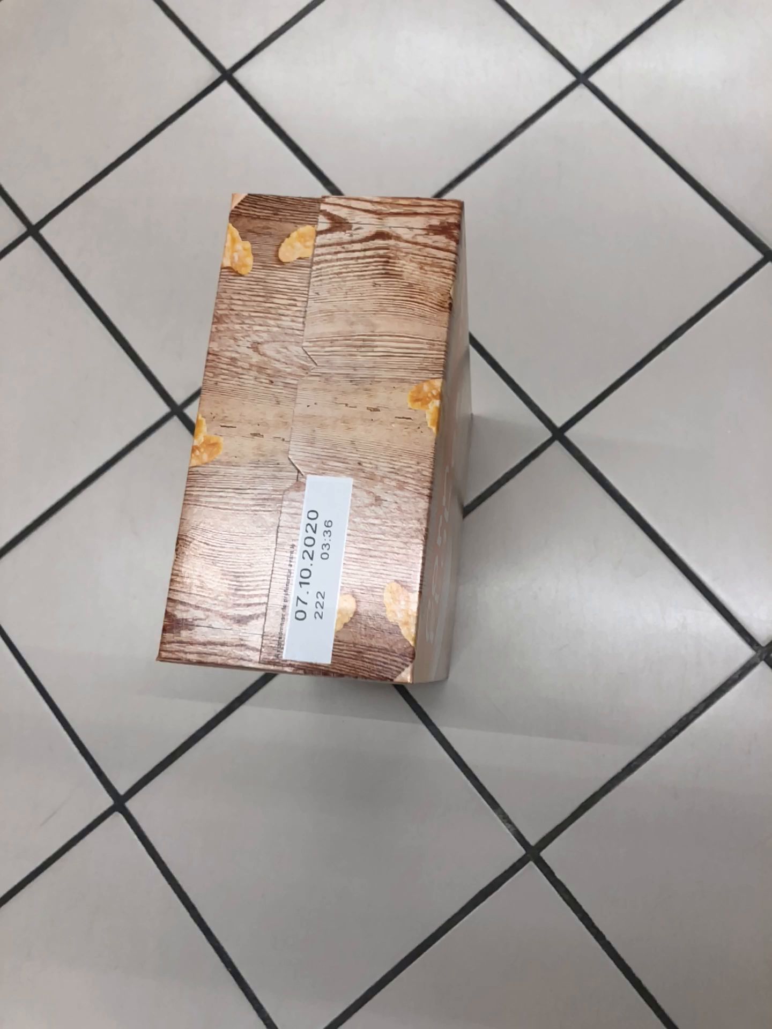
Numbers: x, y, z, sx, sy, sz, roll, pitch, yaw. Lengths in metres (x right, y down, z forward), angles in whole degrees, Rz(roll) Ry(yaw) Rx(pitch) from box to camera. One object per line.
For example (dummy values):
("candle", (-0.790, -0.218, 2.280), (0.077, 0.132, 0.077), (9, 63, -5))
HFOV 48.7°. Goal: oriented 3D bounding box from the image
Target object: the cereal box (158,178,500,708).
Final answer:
("cereal box", (-0.003, -0.008, 0.457), (0.110, 0.280, 0.200), (4, 79, 7))
